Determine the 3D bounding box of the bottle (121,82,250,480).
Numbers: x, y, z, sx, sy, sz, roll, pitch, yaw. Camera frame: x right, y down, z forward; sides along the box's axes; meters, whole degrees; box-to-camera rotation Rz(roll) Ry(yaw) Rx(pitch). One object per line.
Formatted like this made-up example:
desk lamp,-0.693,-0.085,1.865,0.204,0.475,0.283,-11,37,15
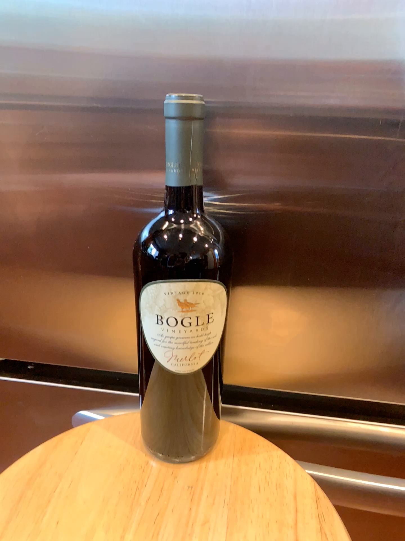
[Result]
bottle,-0.021,0.017,0.357,0.080,0.319,0.080,2,20,-1
